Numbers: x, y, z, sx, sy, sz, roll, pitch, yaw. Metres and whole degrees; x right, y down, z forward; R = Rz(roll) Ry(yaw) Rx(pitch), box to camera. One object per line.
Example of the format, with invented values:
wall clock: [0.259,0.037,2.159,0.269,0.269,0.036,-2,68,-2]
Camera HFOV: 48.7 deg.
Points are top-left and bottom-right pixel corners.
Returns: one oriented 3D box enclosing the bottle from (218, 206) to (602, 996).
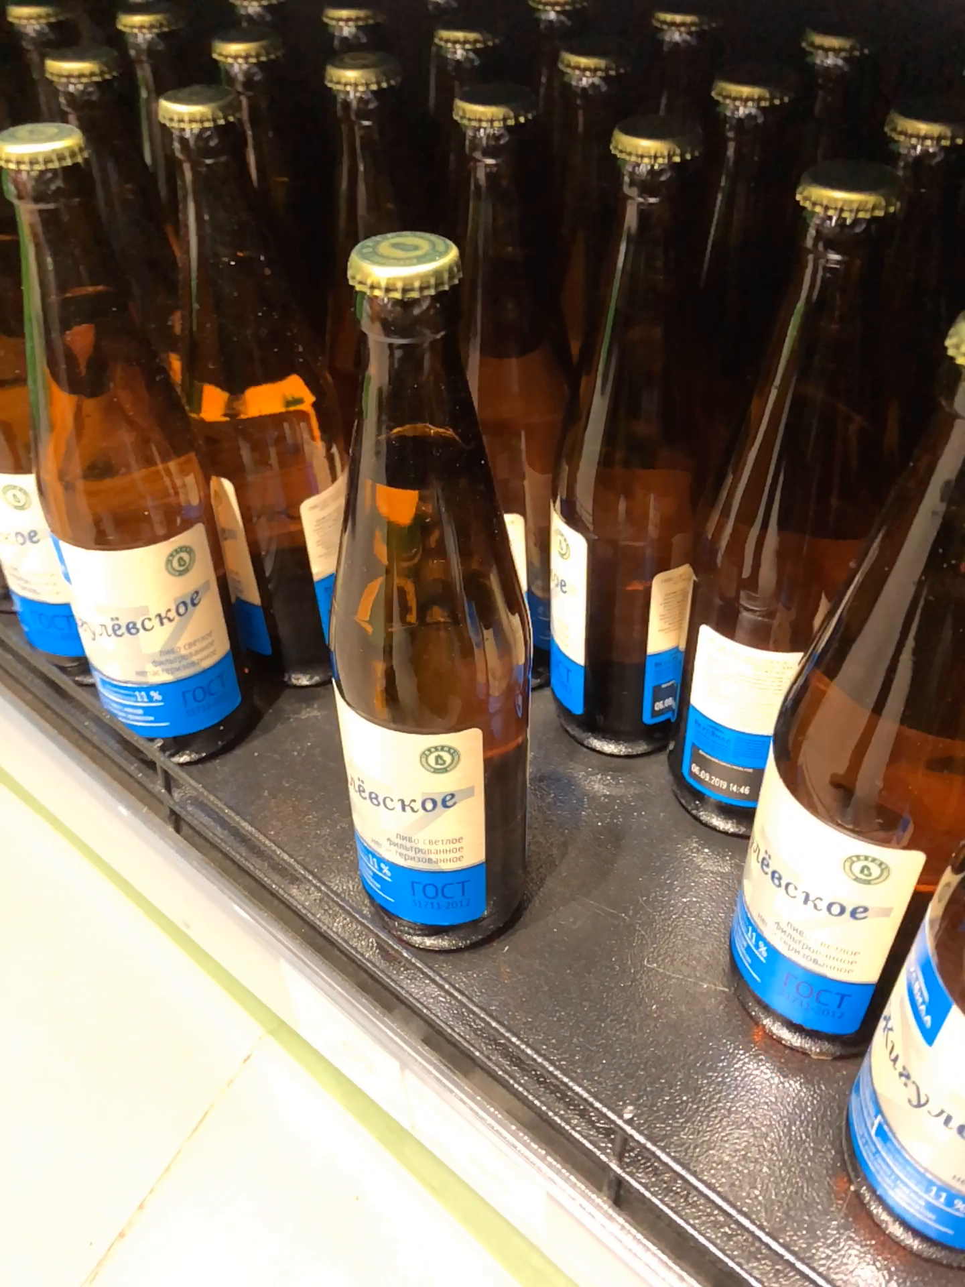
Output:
bottle: [-0.015,0.004,0.342,0.070,0.249,0.070,-2,42,1]
